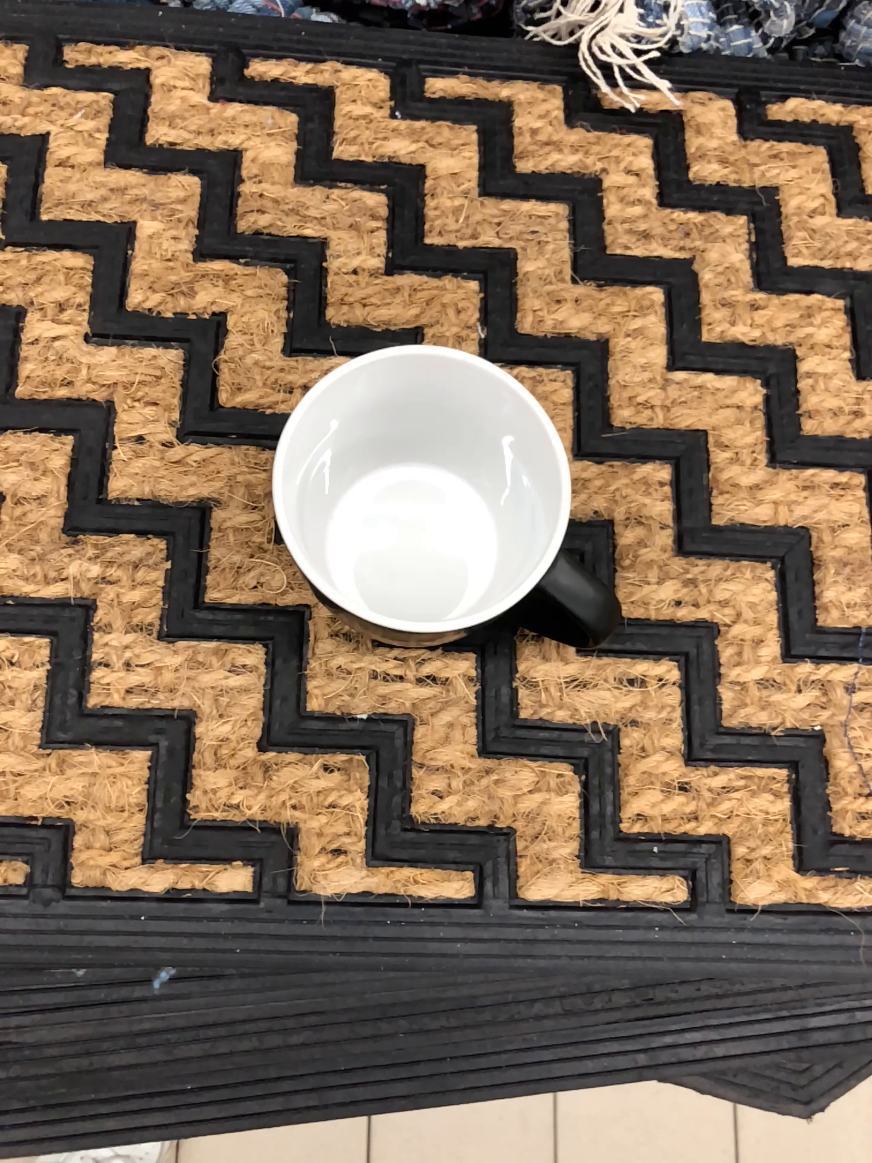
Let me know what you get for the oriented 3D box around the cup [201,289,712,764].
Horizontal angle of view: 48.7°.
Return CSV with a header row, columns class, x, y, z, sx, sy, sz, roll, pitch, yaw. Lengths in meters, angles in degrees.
class,x,y,z,sx,sy,sz,roll,pitch,yaw
cup,0.005,-0.012,0.325,0.123,0.081,0.090,33,78,4
